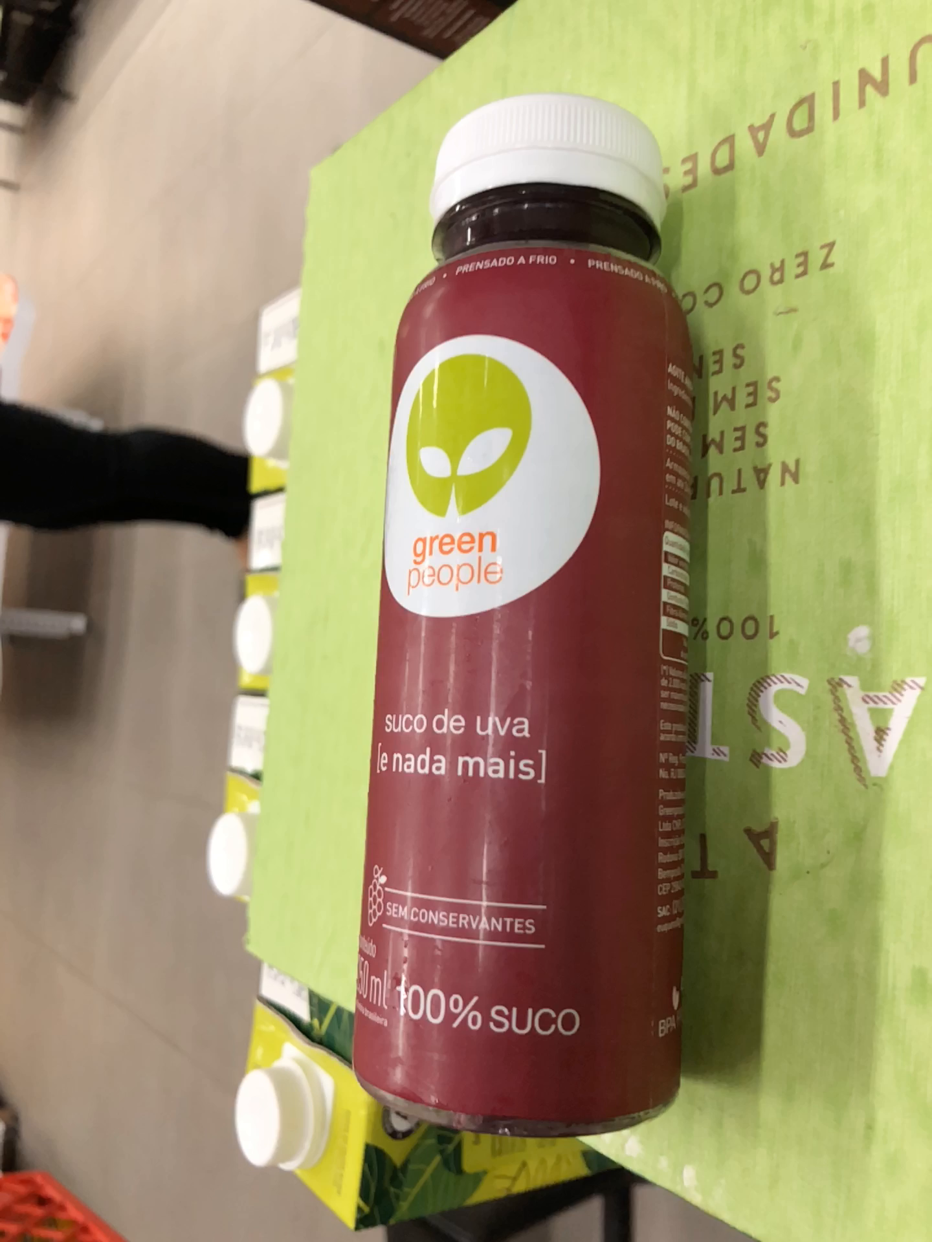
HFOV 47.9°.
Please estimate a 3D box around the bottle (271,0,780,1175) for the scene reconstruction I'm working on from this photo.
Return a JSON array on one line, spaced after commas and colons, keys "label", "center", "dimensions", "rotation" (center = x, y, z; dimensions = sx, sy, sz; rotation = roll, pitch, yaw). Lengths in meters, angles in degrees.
[{"label": "bottle", "center": [0.015, -0.013, 0.179], "dimensions": [0.060, 0.060, 0.170], "rotation": [-1, 83, 31]}]
